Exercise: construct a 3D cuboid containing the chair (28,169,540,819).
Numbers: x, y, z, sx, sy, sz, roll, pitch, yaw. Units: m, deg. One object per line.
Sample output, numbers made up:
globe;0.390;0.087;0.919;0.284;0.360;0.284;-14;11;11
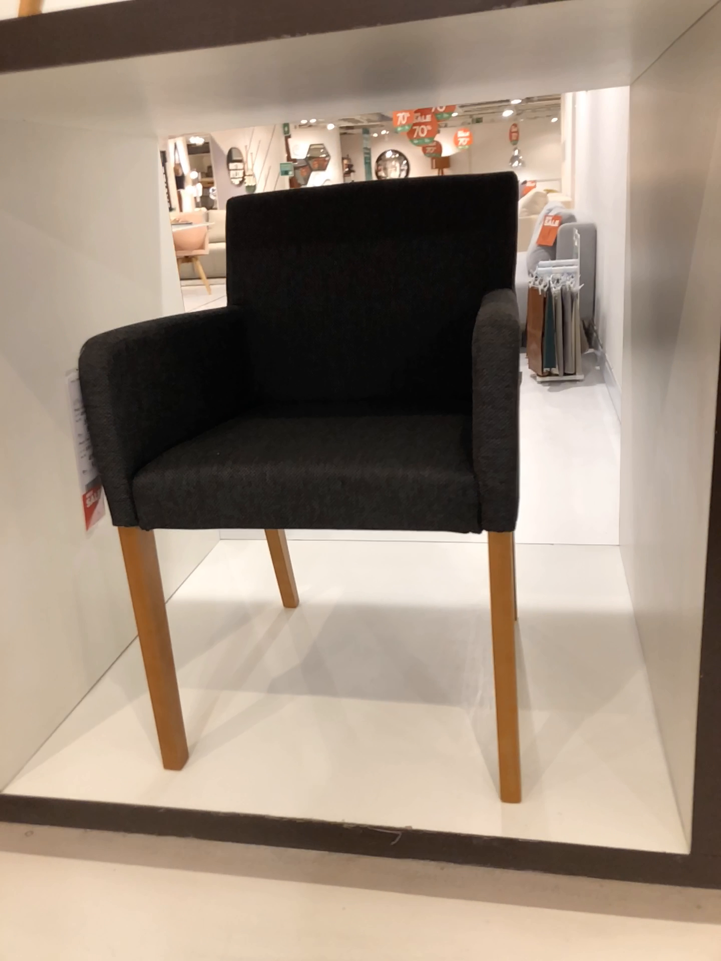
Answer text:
chair;-0.017;-0.034;1.230;0.560;0.795;0.563;1;20;14
